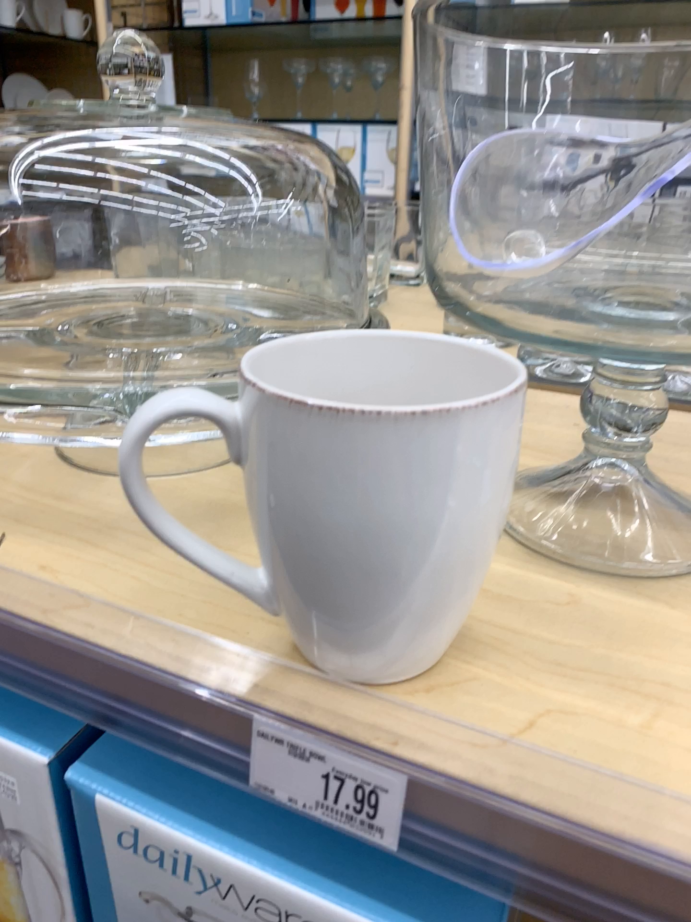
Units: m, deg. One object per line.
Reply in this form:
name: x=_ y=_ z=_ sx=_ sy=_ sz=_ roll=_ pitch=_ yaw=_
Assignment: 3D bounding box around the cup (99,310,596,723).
cup: x=-0.007 y=0.009 z=0.243 sx=0.130 sy=0.094 sz=0.096 roll=-4 pitch=27 yaw=-13
